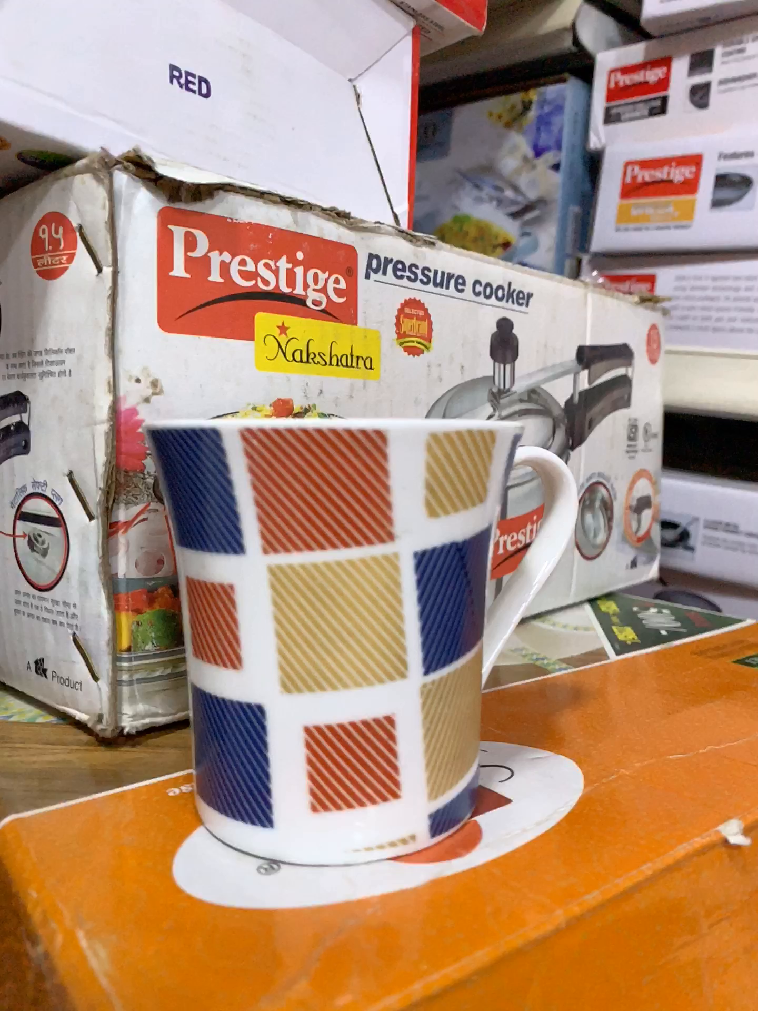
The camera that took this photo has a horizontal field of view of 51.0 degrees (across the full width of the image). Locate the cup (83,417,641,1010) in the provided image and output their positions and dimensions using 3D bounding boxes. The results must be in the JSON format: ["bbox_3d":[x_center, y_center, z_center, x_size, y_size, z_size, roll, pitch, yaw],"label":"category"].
[{"bbox_3d":[0.000,0.027,0.174,0.070,0.090,0.100,5,7,43],"label":"cup"}]
